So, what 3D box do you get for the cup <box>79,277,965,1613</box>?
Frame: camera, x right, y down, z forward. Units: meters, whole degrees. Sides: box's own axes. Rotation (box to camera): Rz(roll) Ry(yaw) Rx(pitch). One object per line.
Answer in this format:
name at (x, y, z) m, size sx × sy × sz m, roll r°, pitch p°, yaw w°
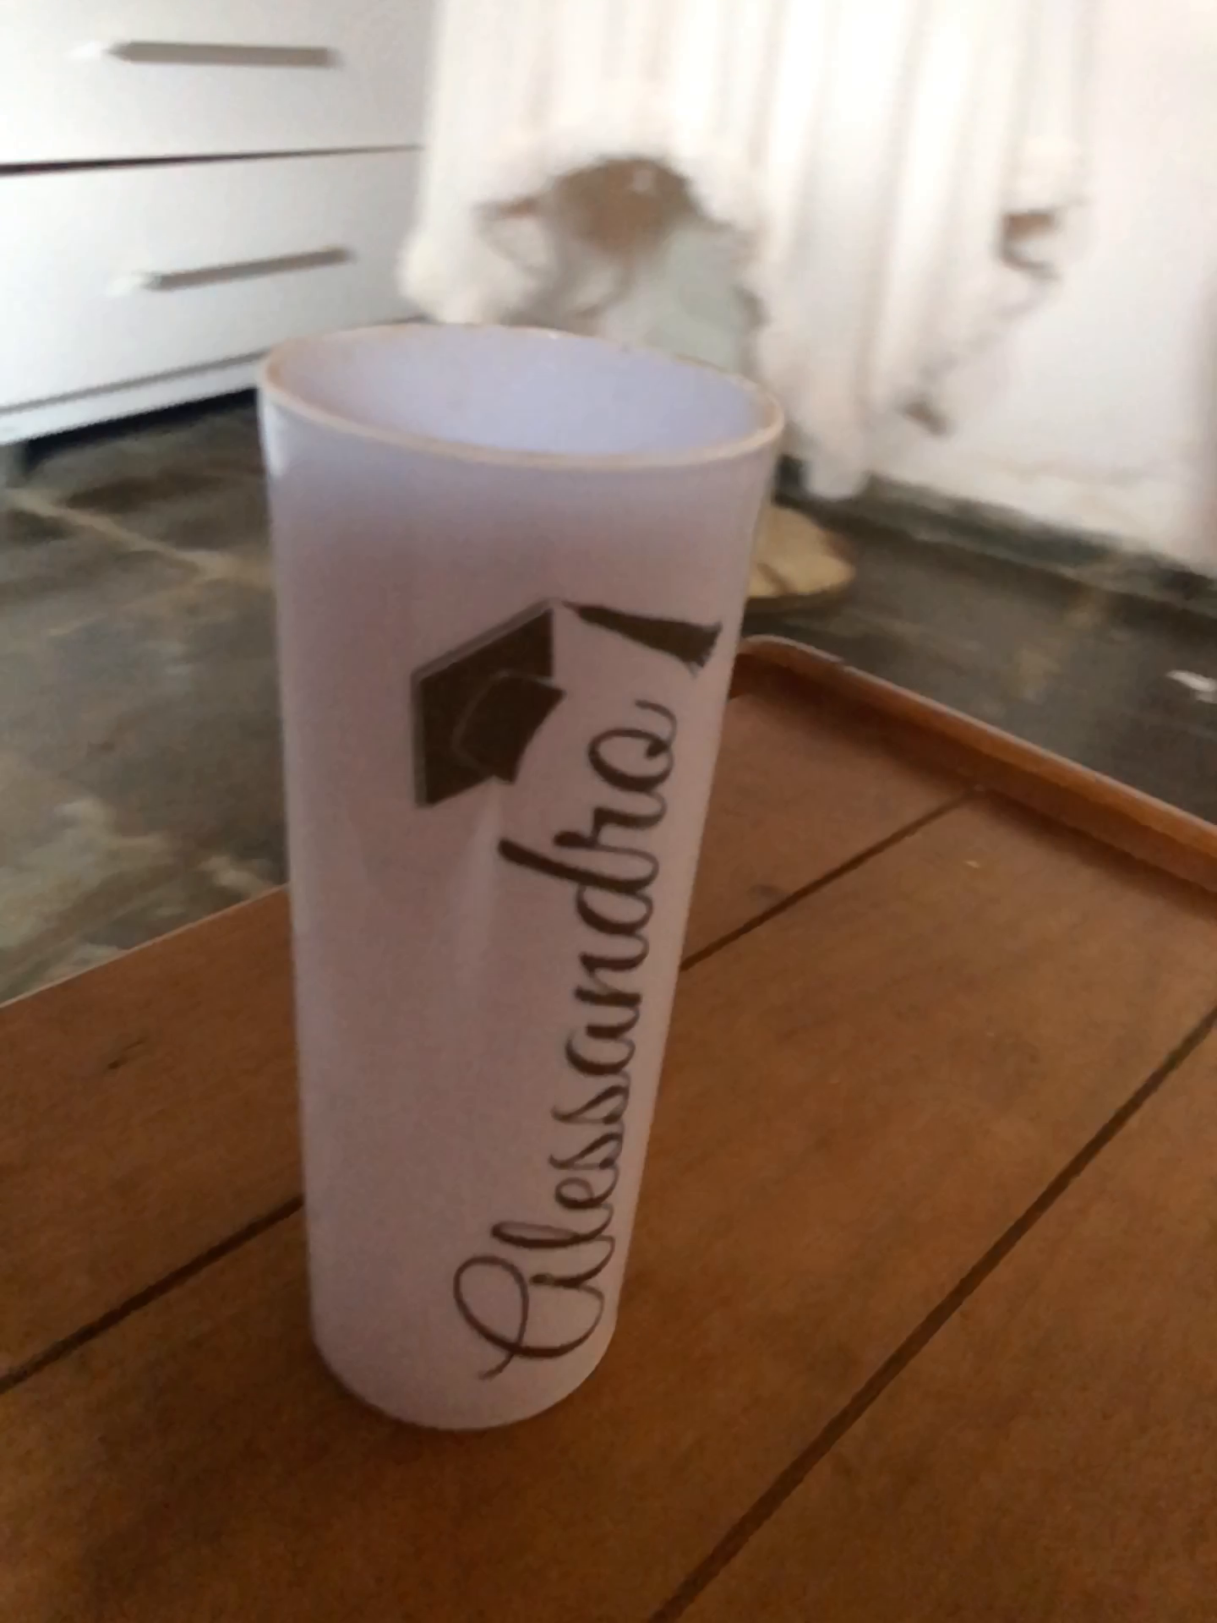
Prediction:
cup at (-0.018, 0.018, 0.188) m, size 0.070 × 0.159 × 0.070 m, roll 5°, pitch 31°, yaw -3°
